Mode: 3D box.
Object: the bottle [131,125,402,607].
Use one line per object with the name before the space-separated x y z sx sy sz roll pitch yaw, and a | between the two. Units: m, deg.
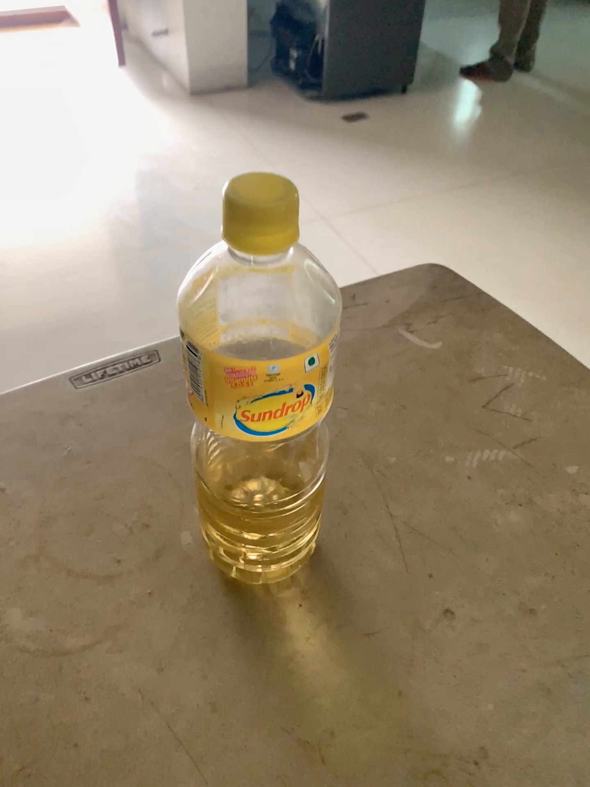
bottle | -0.022 0.007 0.342 0.090 0.269 0.090 2 46 -2
